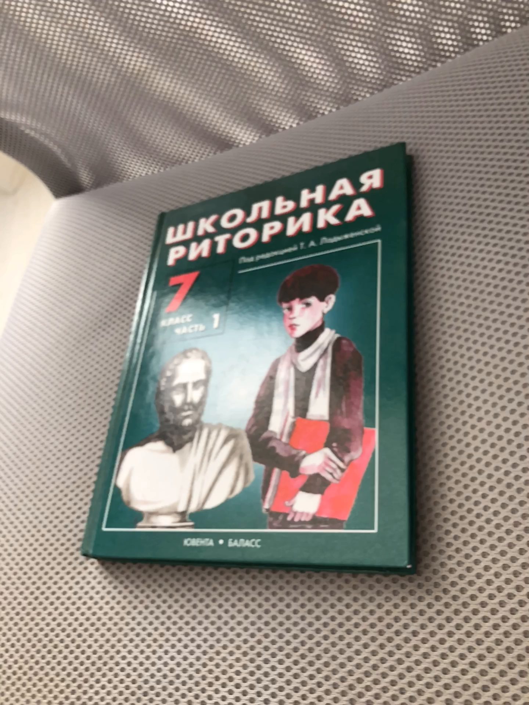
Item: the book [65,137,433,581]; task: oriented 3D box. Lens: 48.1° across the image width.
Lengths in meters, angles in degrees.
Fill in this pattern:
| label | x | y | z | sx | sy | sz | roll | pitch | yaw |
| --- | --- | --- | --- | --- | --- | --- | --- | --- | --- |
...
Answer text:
| label | x | y | z | sx | sy | sz | roll | pitch | yaw |
| --- | --- | --- | --- | --- | --- | --- | --- | --- | --- |
| book | -0.005 | 0.001 | 0.305 | 0.167 | 0.030 | 0.211 | -9 | 60 | 26 |
